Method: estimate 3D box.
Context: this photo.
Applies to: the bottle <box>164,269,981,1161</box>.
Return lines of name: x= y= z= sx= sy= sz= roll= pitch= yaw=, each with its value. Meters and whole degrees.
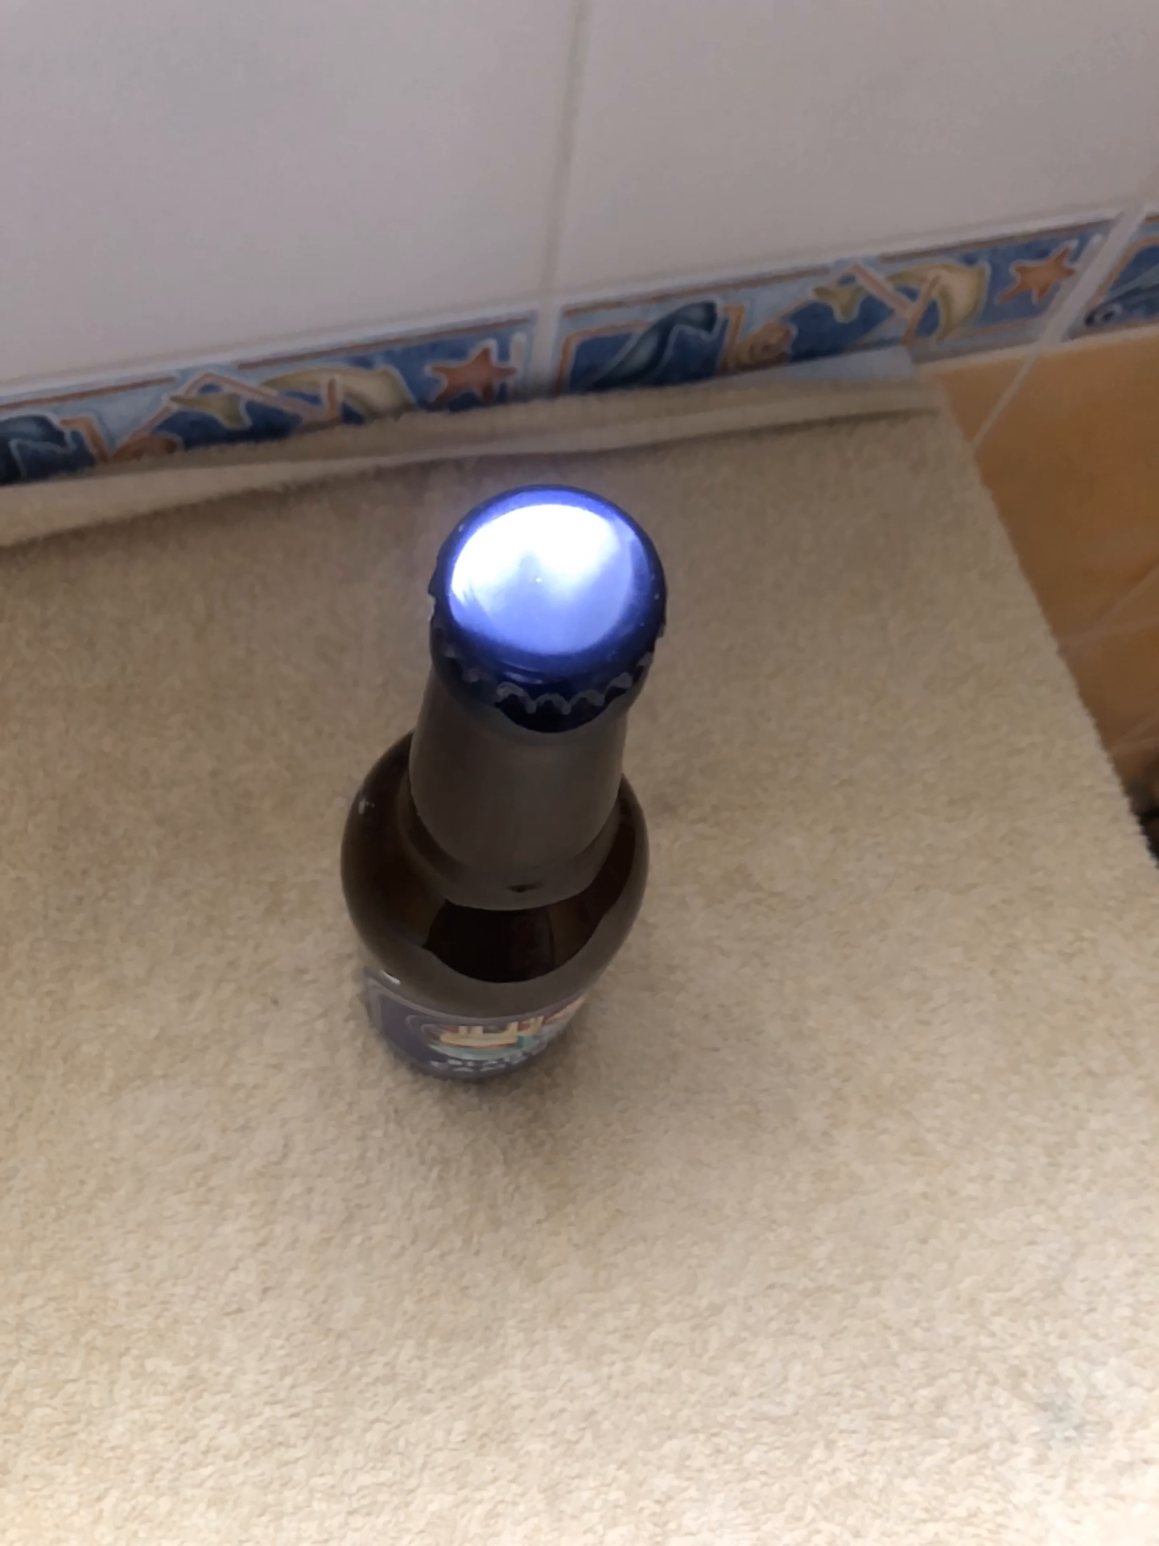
bottle: x=-0.014 y=0.018 z=0.242 sx=0.070 sy=0.219 sz=0.070 roll=2 pitch=69 yaw=-6
